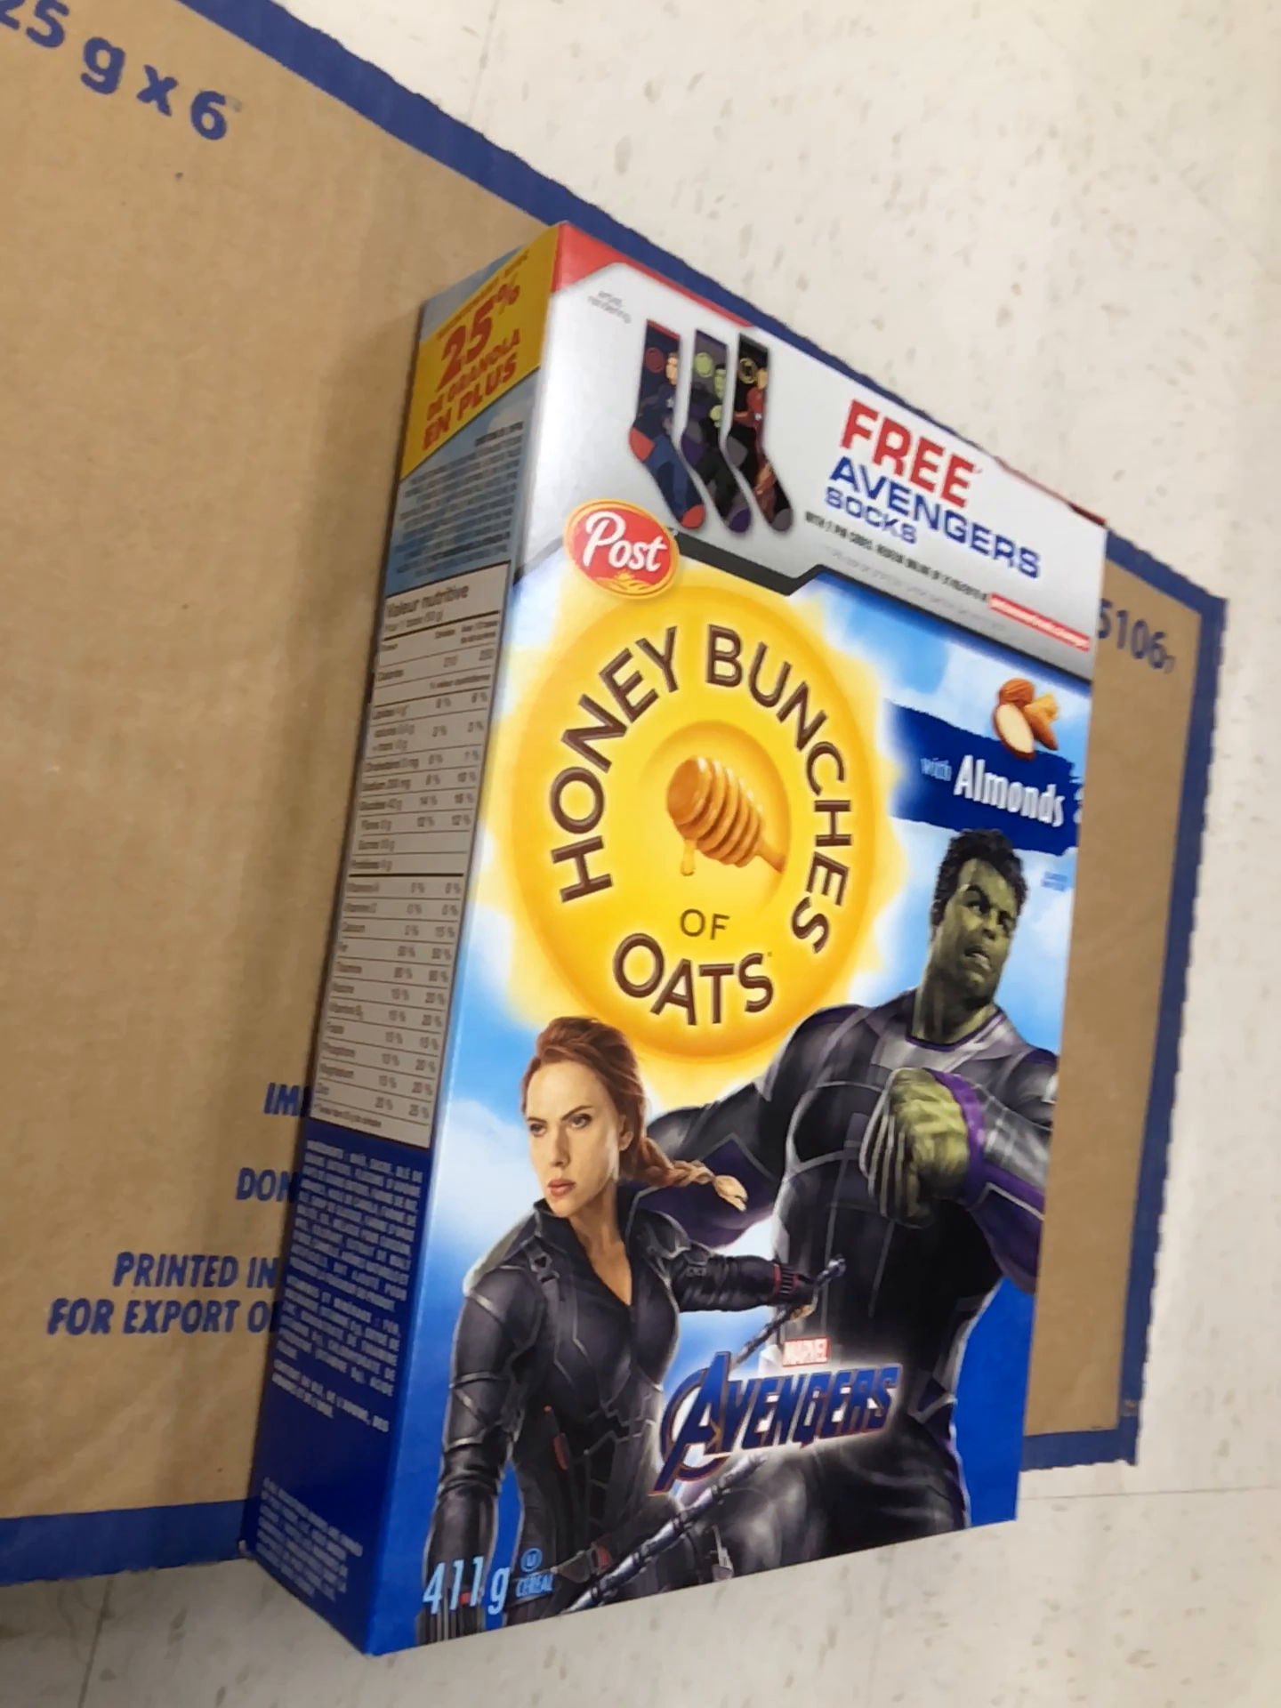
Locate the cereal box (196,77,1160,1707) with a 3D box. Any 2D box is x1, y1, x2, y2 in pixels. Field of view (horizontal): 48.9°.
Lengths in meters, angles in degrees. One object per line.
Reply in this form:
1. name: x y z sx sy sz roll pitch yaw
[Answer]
1. cereal box: 0.027 0.016 0.335 0.201 0.070 0.290 12 82 -39
